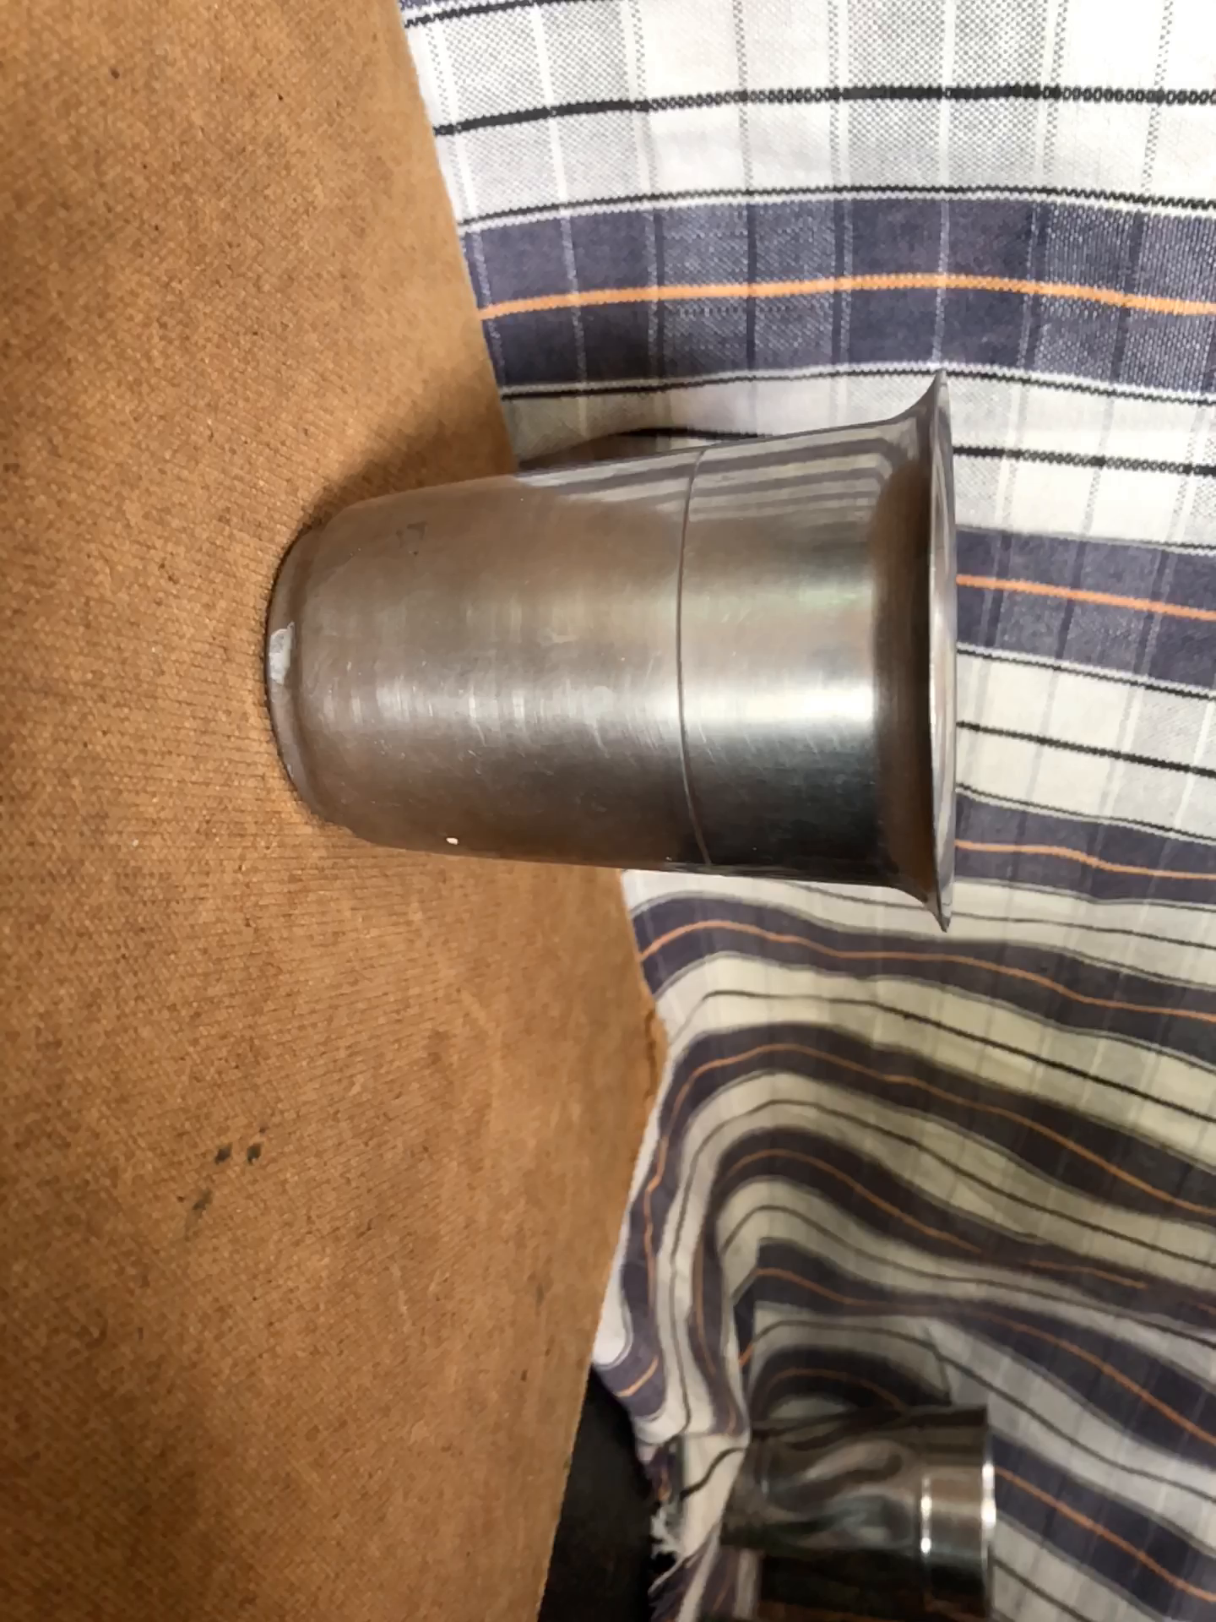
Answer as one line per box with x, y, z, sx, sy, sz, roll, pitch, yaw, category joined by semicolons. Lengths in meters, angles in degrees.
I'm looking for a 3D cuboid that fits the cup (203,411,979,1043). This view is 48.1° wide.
0.007;-0.018;0.219;0.080;0.100;0.080;-1;90;-75;cup
